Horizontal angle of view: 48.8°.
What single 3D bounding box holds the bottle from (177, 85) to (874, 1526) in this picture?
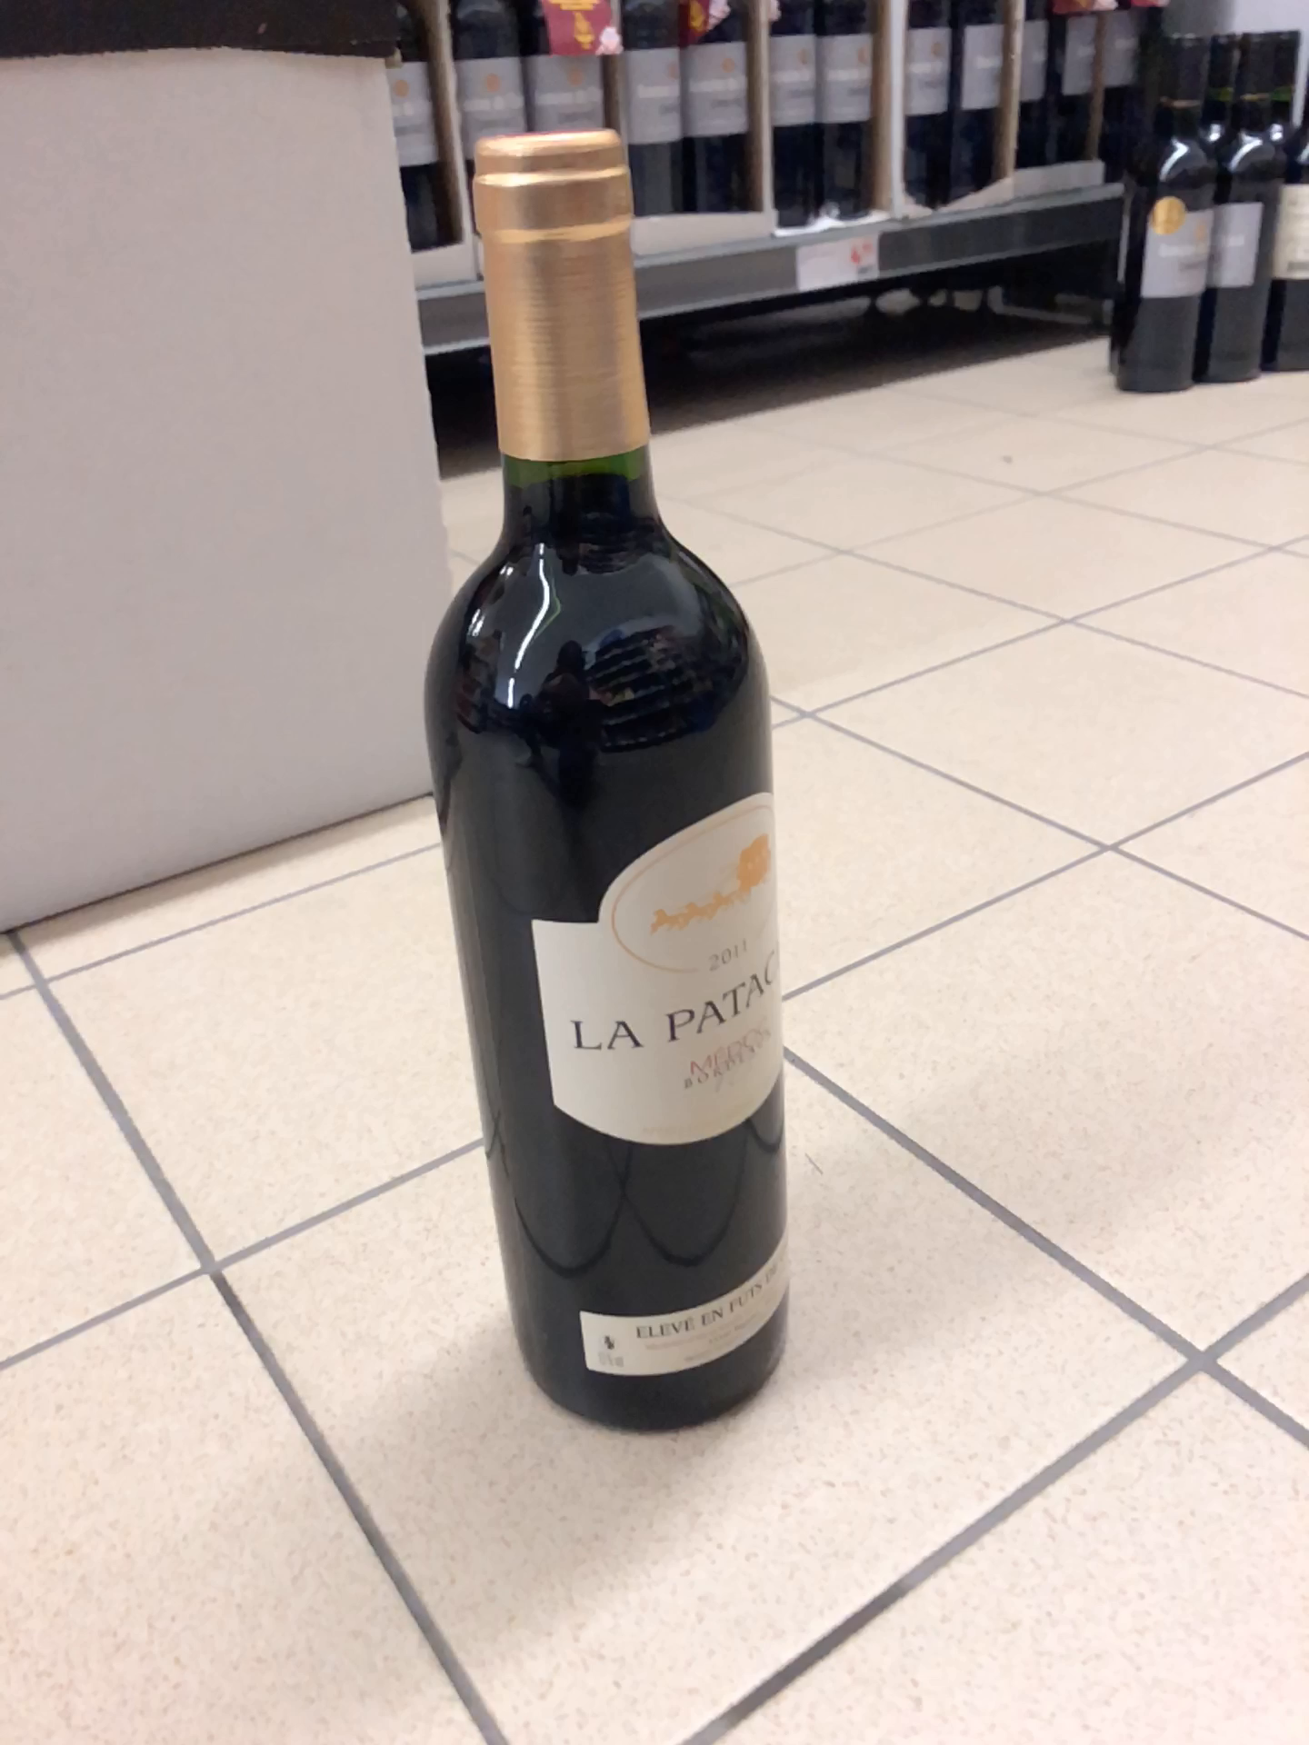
[{"bbox_3d":[-0.014,-0.005,0.317,0.090,0.288,0.080,-27,36,-37],"label":"bottle"}]
